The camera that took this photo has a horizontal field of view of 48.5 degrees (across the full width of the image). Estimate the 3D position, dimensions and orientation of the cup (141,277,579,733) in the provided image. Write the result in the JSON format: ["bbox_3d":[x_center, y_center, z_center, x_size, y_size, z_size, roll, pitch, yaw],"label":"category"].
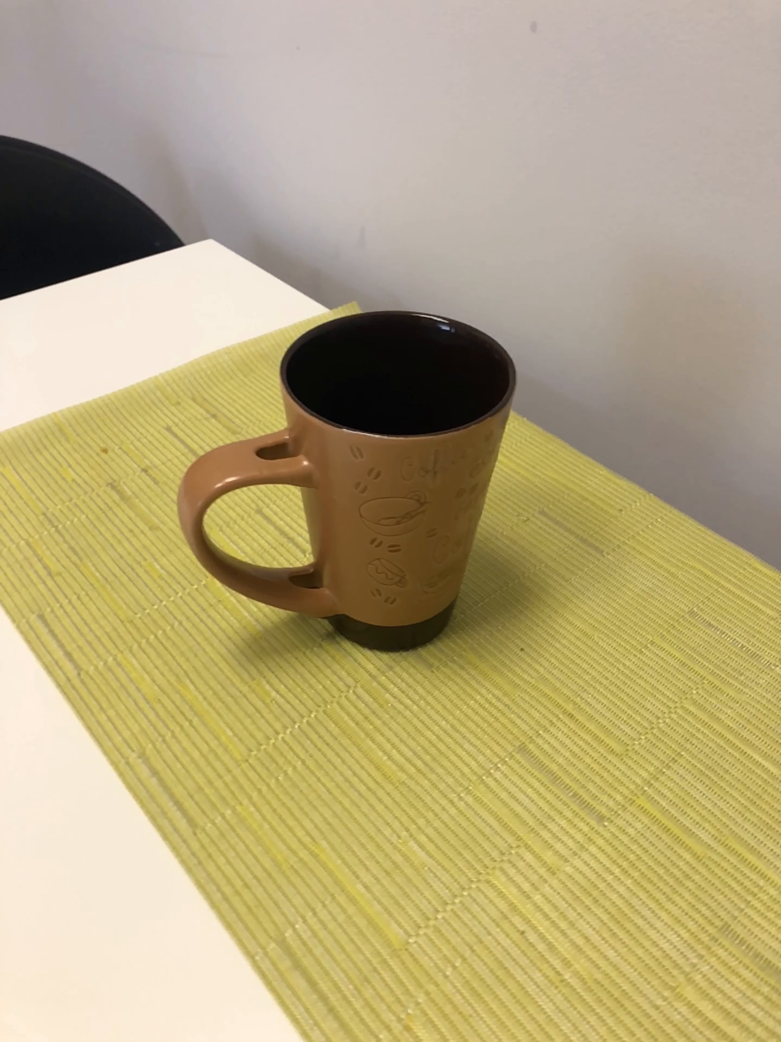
[{"bbox_3d":[-0.014,-0.010,0.343,0.126,0.119,0.090,-18,45,-23],"label":"cup"}]
